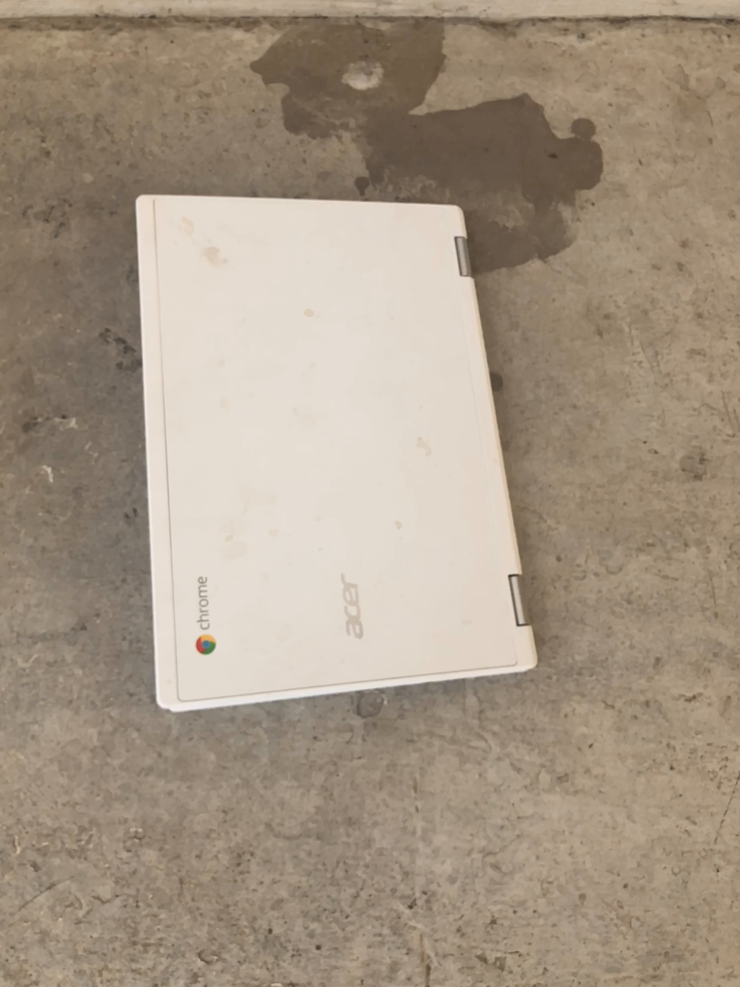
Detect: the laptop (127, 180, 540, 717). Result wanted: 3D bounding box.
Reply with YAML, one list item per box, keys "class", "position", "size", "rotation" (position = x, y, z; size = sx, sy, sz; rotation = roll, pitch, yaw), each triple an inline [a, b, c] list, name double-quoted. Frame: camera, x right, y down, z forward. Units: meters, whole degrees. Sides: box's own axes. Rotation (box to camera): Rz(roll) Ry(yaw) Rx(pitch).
- class: "laptop"
  position: [-0.027, -0.033, 0.451]
  size: [0.190, 0.046, 0.279]
  rotation: [-5, 74, -6]
